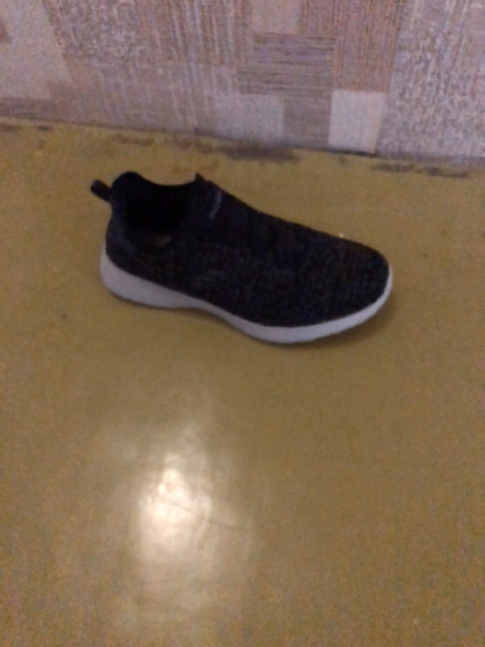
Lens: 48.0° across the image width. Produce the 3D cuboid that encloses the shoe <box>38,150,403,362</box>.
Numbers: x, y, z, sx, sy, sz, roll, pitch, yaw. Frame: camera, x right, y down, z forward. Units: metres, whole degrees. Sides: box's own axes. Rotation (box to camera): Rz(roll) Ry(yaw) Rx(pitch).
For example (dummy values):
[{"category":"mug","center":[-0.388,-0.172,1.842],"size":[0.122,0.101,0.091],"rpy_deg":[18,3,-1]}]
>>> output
[{"category":"shoe","center":[-0.015,-0.069,0.561],"size":[0.320,0.130,0.120],"rpy_deg":[9,61,8]}]
